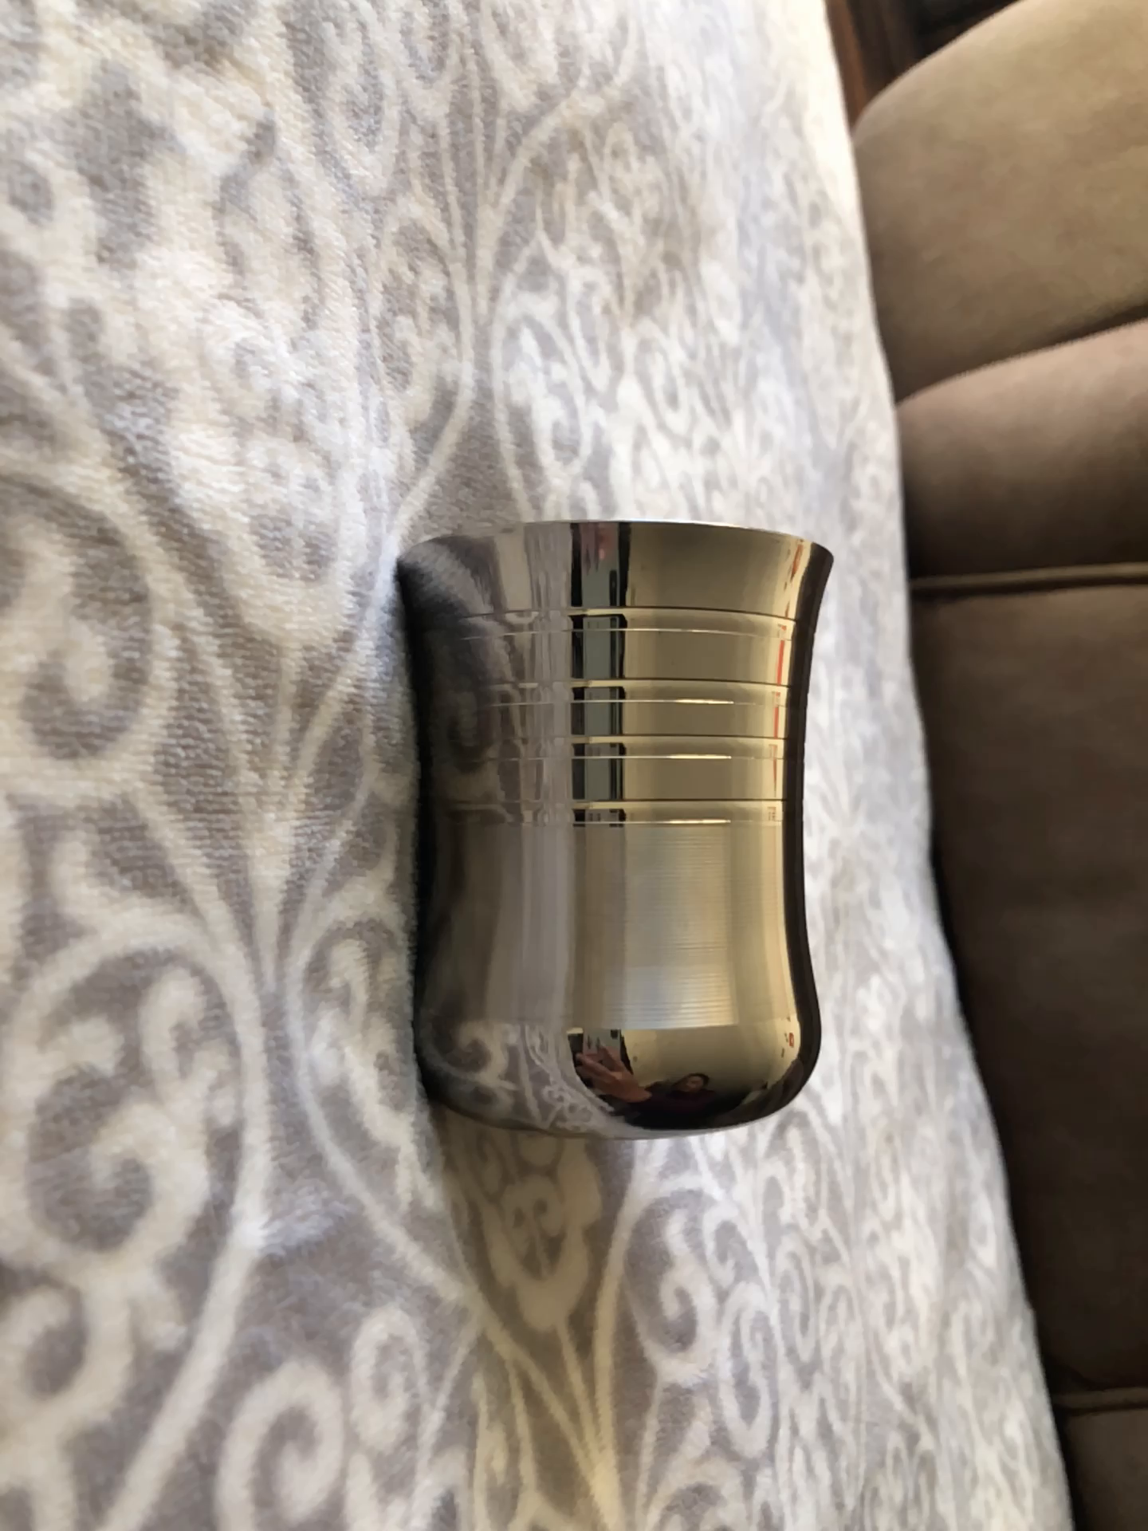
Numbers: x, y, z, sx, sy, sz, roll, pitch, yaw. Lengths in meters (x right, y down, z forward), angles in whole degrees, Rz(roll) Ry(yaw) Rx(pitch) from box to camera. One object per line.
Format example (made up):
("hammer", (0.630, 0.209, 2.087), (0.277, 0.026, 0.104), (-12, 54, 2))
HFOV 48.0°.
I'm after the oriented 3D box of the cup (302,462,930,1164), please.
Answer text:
("cup", (0.011, 0.010, 0.207), (0.078, 0.066, 0.086), (4, 79, -64))
